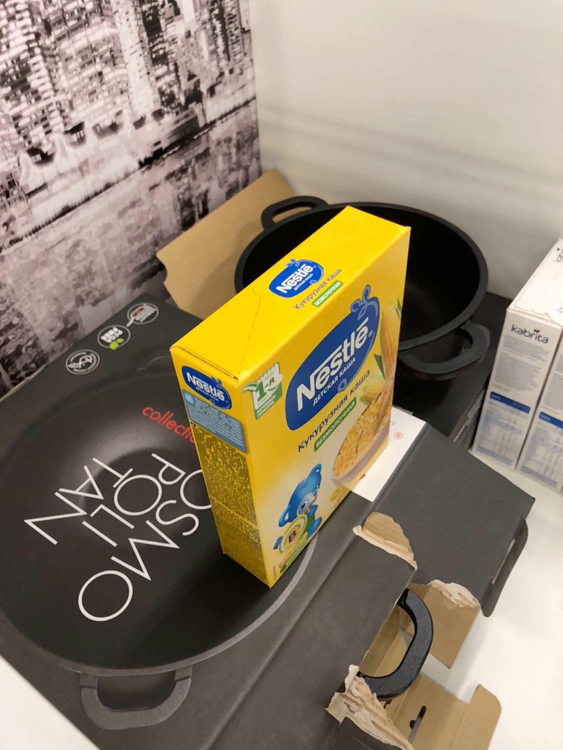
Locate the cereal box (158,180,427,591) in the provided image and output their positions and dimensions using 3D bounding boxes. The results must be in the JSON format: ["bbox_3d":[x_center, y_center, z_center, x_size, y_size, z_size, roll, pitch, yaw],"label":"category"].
[{"bbox_3d":[0.018,0.013,0.375,0.050,0.199,0.151,28,54,28],"label":"cereal box"}]
